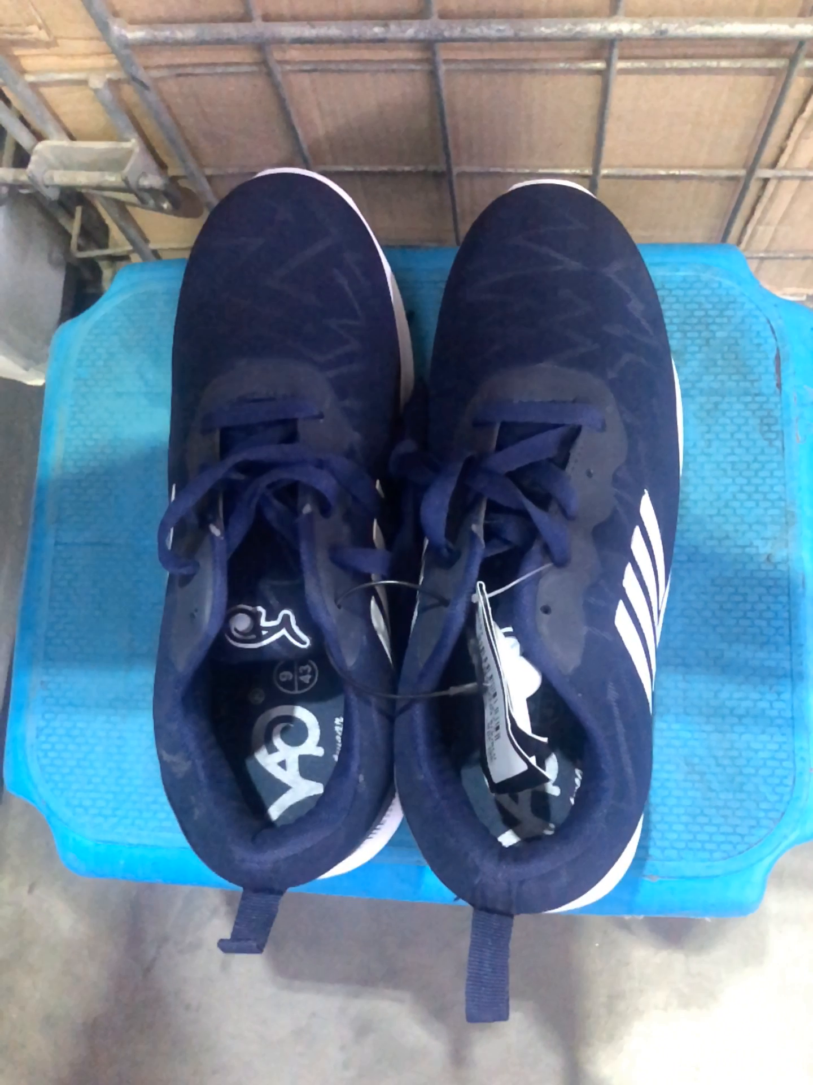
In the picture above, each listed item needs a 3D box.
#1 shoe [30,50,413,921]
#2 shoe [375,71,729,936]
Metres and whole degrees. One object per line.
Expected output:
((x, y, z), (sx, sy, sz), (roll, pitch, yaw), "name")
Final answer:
((-0.054, -0.019, 0.326), (0.100, 0.100, 0.270), (-2, 80, 7), "shoe")
((0.048, -0.014, 0.329), (0.100, 0.100, 0.270), (-1, 80, 7), "shoe")
